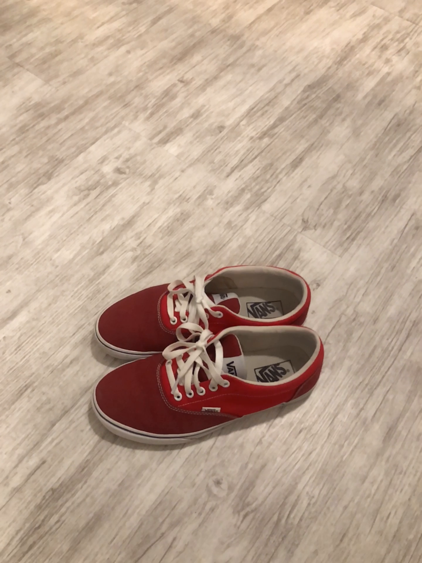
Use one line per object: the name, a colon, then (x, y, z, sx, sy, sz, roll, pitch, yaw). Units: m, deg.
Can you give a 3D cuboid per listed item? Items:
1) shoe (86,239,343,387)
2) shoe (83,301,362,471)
shoe: (-0.001, 0.038, 0.555, 0.272, 0.093, 0.110, -8, 60, -7)
shoe: (0.007, 0.113, 0.506, 0.266, 0.088, 0.110, -10, 60, -8)
